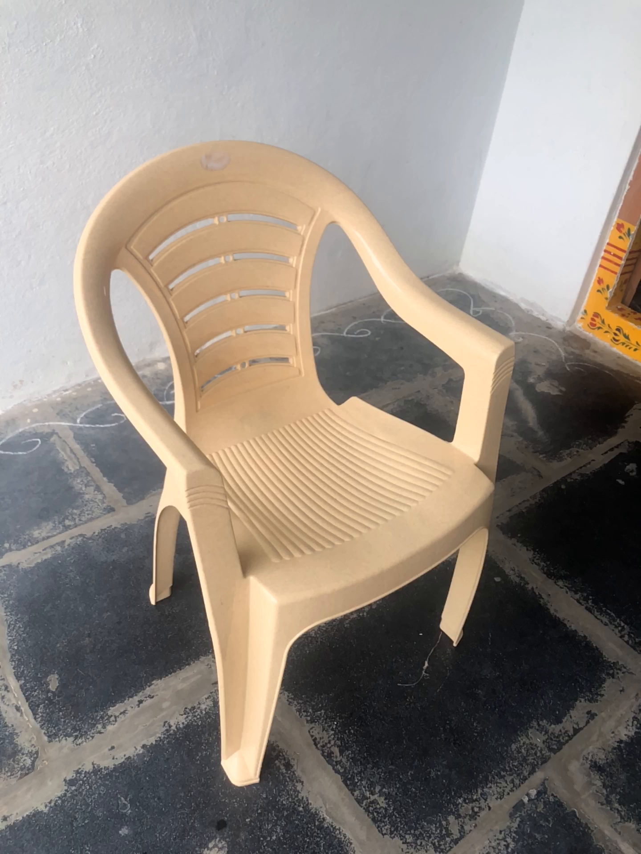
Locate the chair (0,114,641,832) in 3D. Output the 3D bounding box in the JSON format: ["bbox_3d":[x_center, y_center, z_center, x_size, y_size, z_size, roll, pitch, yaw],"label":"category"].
[{"bbox_3d":[-0.035,0.007,1.125,0.623,0.736,0.651,-26,48,-35],"label":"chair"}]
